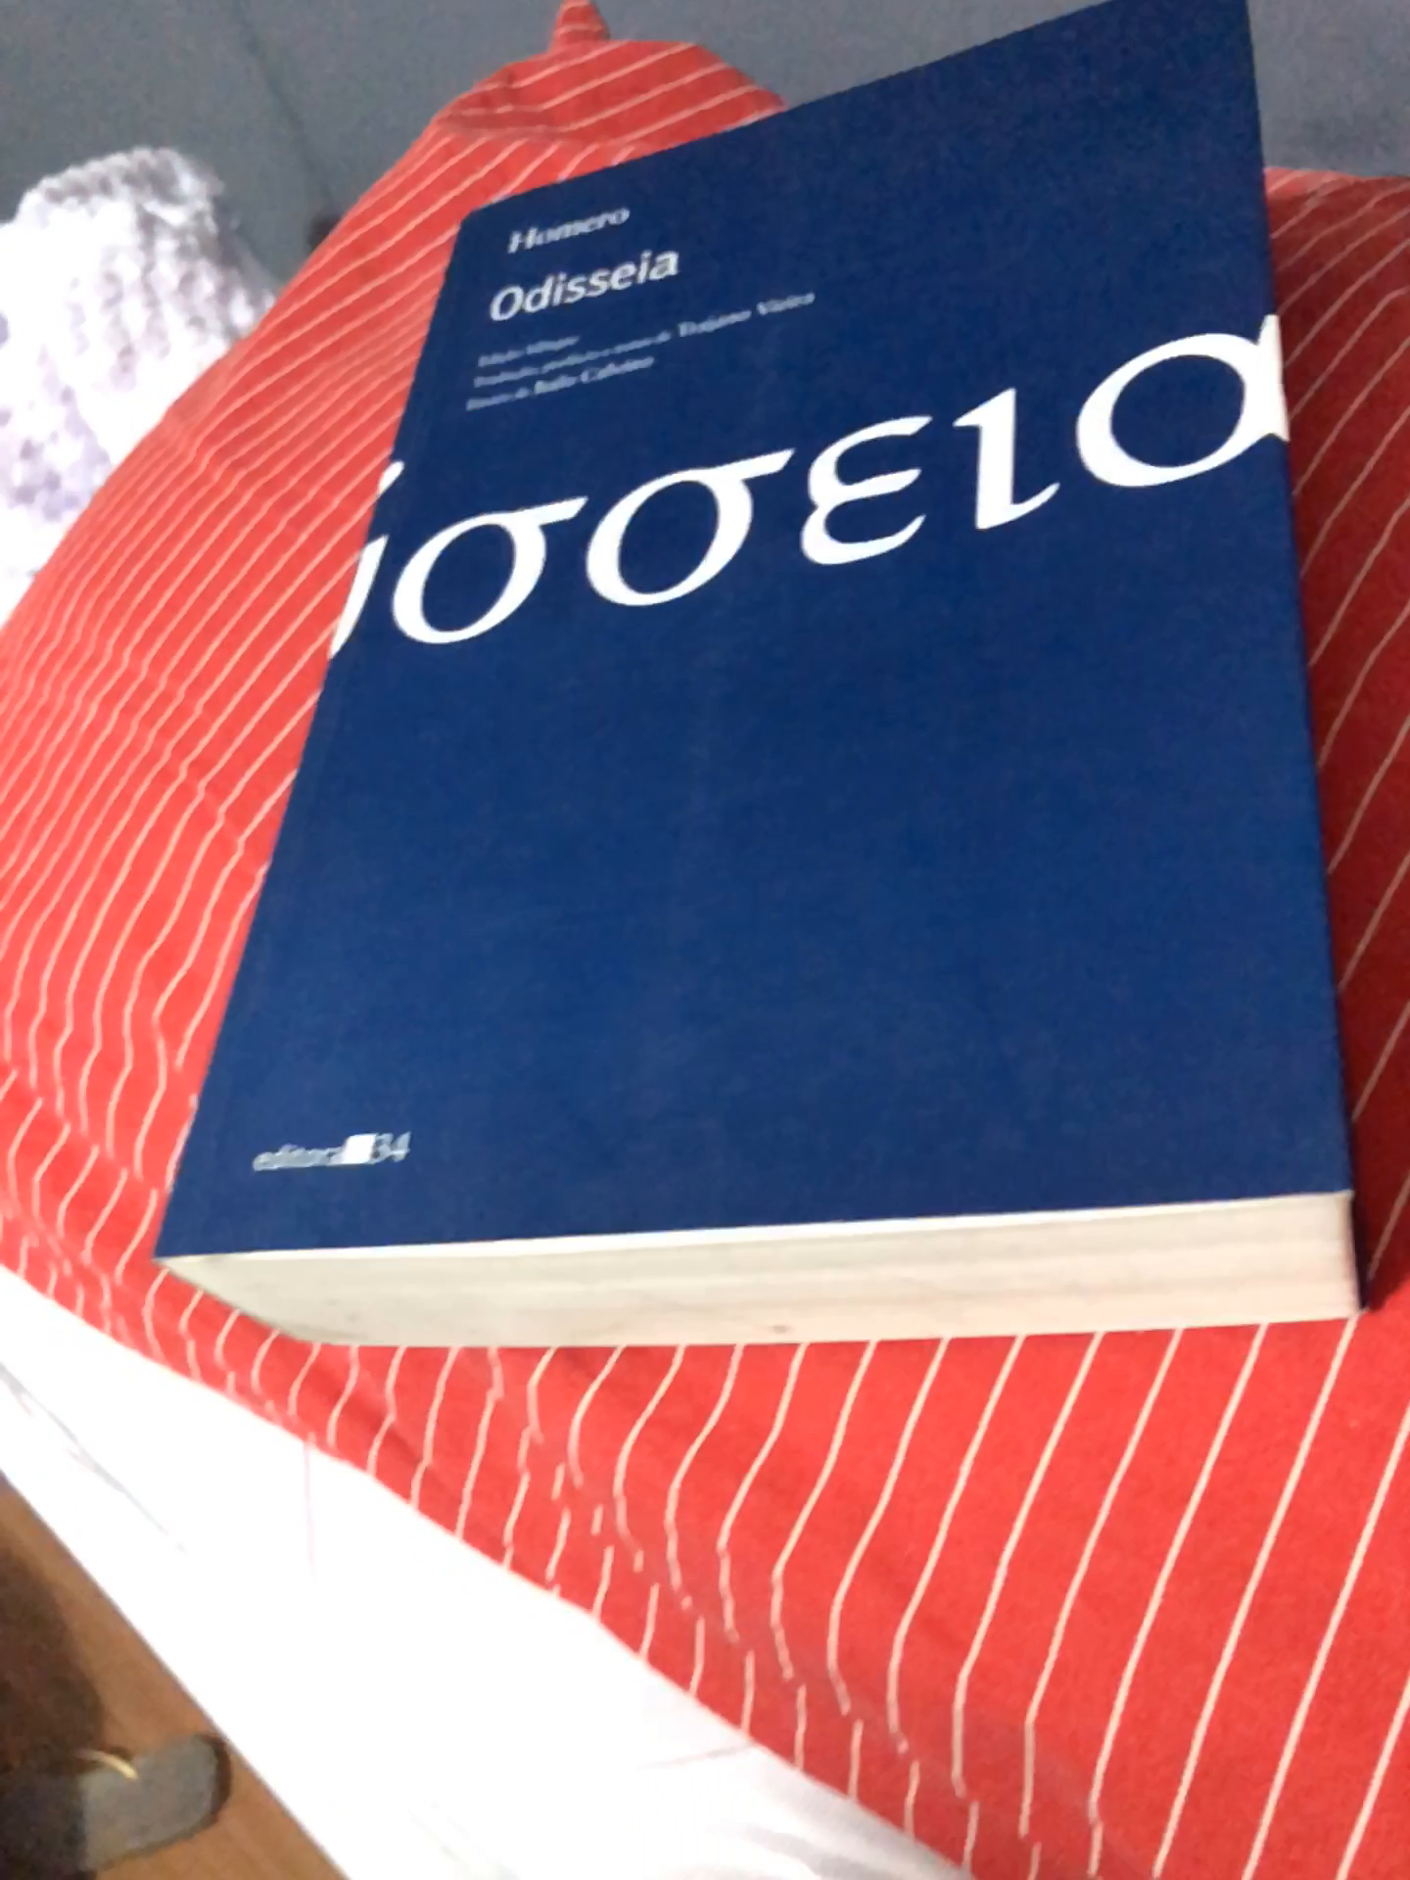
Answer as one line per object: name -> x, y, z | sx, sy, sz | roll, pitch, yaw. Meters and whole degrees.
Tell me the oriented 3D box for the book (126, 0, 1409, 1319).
book -> 0.021, -0.059, 0.254 | 0.170, 0.040, 0.231 | -7, 56, 24
